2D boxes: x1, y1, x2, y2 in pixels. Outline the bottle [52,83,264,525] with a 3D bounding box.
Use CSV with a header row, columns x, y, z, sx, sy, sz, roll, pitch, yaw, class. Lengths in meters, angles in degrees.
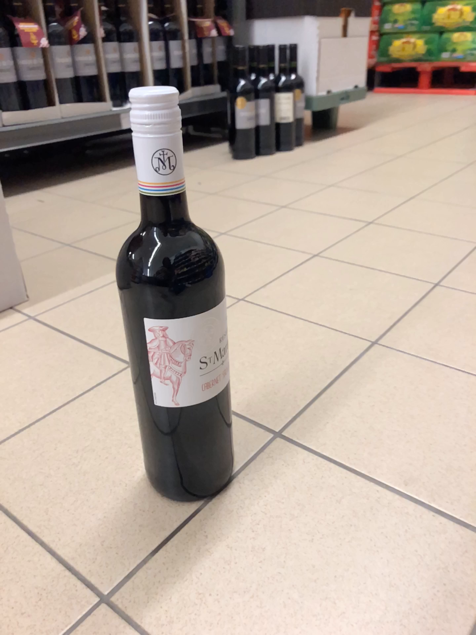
x,y,z,sx,sy,sz,roll,pitch,yaw,class
-0.041,-0.004,0.373,0.080,0.288,0.091,17,33,32,bottle
